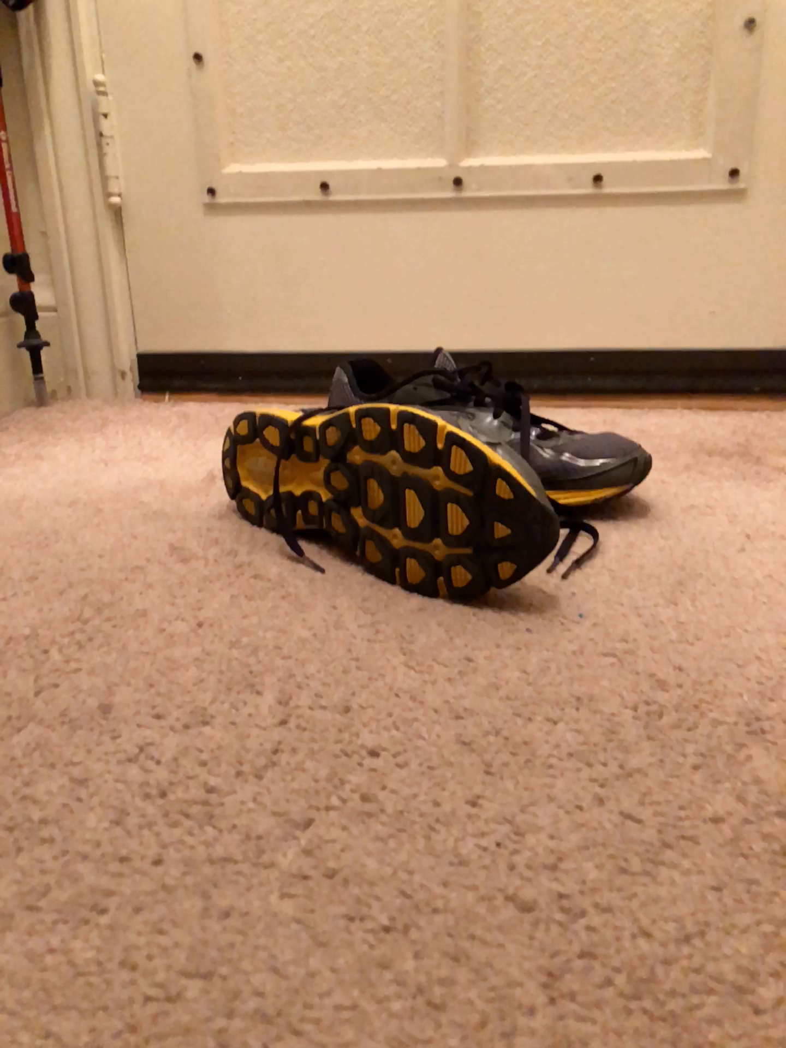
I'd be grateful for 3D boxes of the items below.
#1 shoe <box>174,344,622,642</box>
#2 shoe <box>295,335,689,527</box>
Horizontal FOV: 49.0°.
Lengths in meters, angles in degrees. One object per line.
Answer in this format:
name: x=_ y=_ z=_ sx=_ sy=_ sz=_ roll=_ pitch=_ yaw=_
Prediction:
shoe: x=-0.010 y=-0.040 z=0.572 sx=0.294 sy=0.117 sz=0.109 roll=17 pitch=28 yaw=42
shoe: x=0.071 y=-0.086 z=0.688 sx=0.283 sy=0.099 sz=0.118 roll=12 pitch=23 yaw=32
